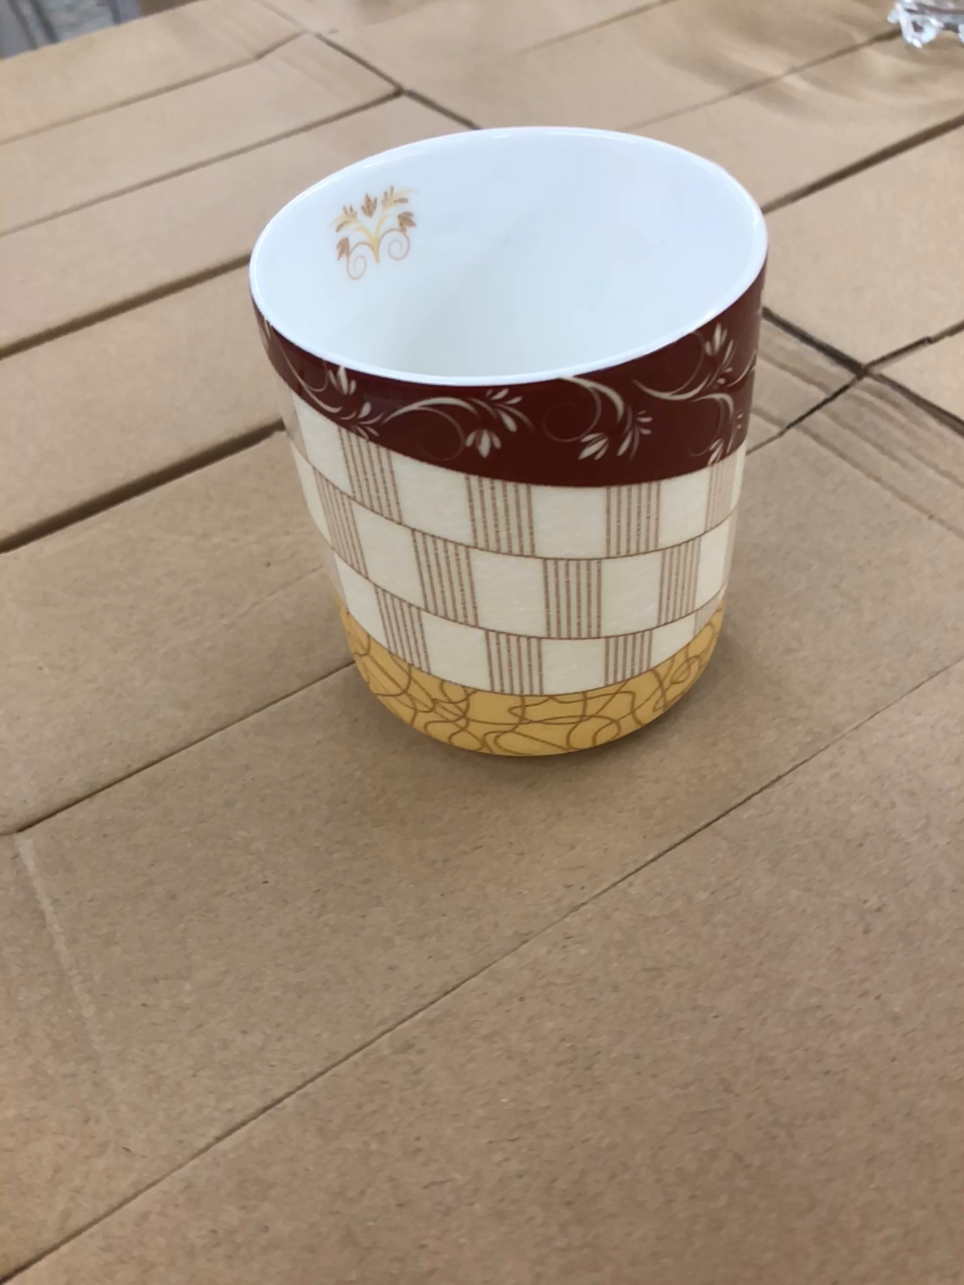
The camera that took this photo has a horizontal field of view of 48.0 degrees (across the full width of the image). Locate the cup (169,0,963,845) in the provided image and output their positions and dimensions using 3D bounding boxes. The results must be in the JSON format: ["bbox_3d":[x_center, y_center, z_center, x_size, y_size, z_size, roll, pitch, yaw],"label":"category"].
[{"bbox_3d":[0.022,-0.042,0.170,0.070,0.080,0.101,20,54,22],"label":"cup"}]
